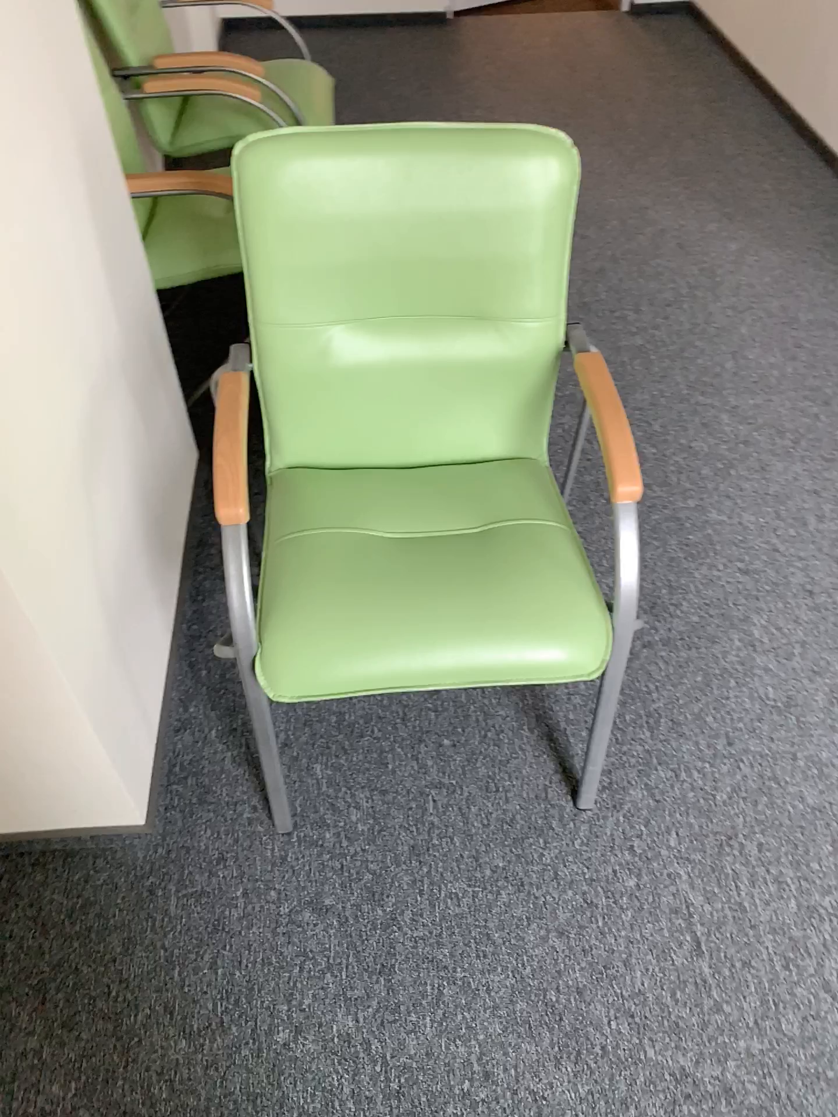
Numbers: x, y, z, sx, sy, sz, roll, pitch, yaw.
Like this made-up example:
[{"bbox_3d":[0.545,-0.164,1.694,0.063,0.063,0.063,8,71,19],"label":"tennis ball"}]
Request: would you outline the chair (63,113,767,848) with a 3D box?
[{"bbox_3d":[-0.017,-0.073,1.286,0.620,0.876,0.623,-3,48,-2],"label":"chair"}]
